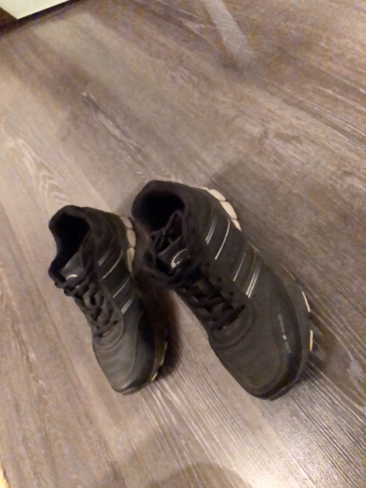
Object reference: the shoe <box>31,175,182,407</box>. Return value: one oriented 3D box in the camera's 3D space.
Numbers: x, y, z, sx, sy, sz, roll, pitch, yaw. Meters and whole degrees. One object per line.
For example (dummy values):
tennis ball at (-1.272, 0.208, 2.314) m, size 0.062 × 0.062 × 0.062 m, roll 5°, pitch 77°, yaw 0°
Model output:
shoe at (-0.104, 0.052, 0.499) m, size 0.100 × 0.090 × 0.251 m, roll -37°, pitch 55°, yaw 24°

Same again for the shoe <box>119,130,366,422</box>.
shoe at (0.045, 0.023, 0.411) m, size 0.110 × 0.099 × 0.261 m, roll -42°, pitch 53°, yaw 21°
